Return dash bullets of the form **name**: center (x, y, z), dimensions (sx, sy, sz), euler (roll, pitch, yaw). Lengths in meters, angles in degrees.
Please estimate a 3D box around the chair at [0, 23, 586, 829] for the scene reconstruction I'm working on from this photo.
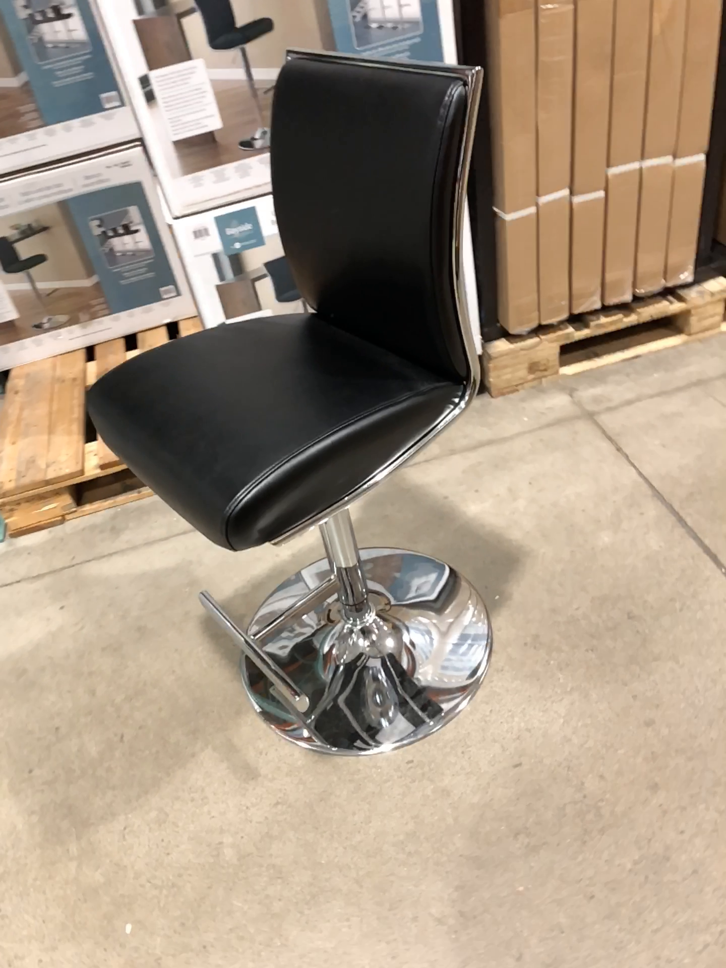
- **chair**: center (-0.065, -0.082, 1.202), dimensions (0.541, 0.946, 0.532), euler (-35, 45, -26)
